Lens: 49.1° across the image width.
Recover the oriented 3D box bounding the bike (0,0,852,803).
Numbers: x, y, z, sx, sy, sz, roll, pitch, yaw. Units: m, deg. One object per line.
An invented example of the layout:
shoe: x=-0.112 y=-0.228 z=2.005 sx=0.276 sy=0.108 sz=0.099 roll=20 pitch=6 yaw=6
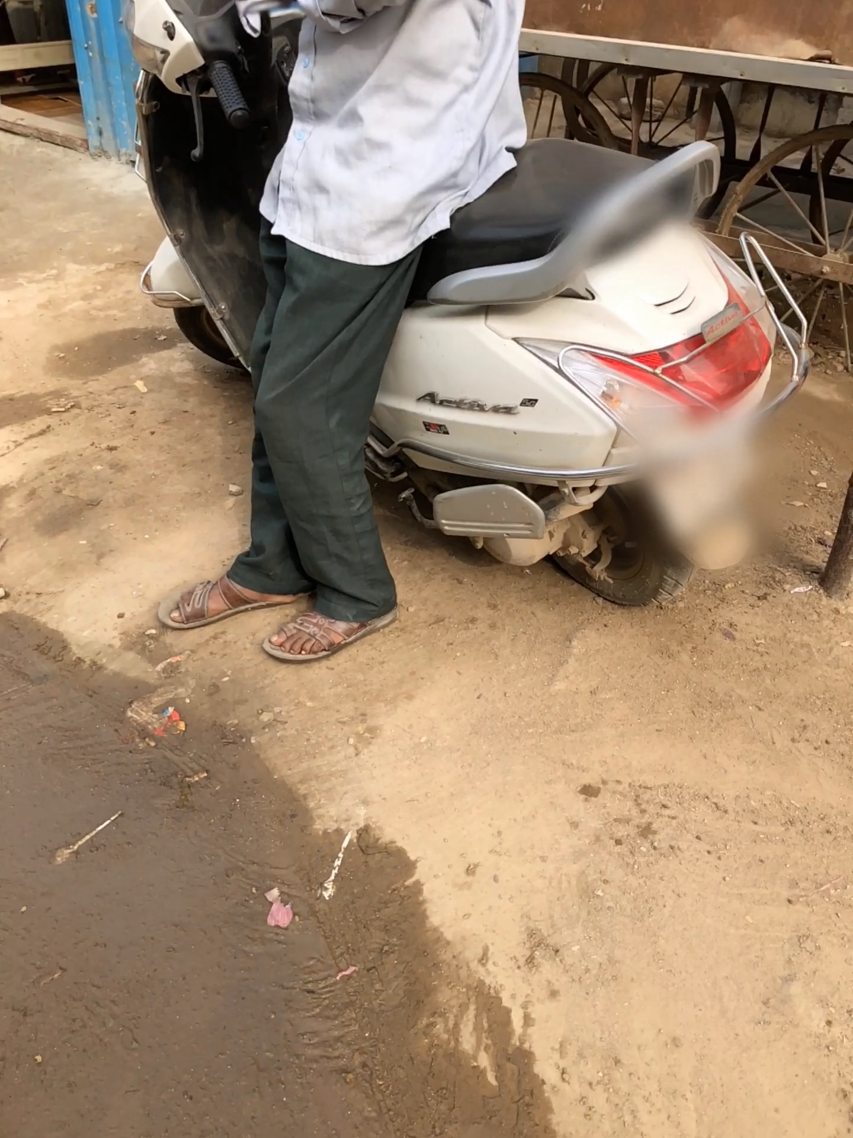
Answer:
bike: x=-0.231 y=-0.549 z=1.719 sx=0.659 sy=1.112 sz=1.577 roll=-28 pitch=44 yaw=-35
